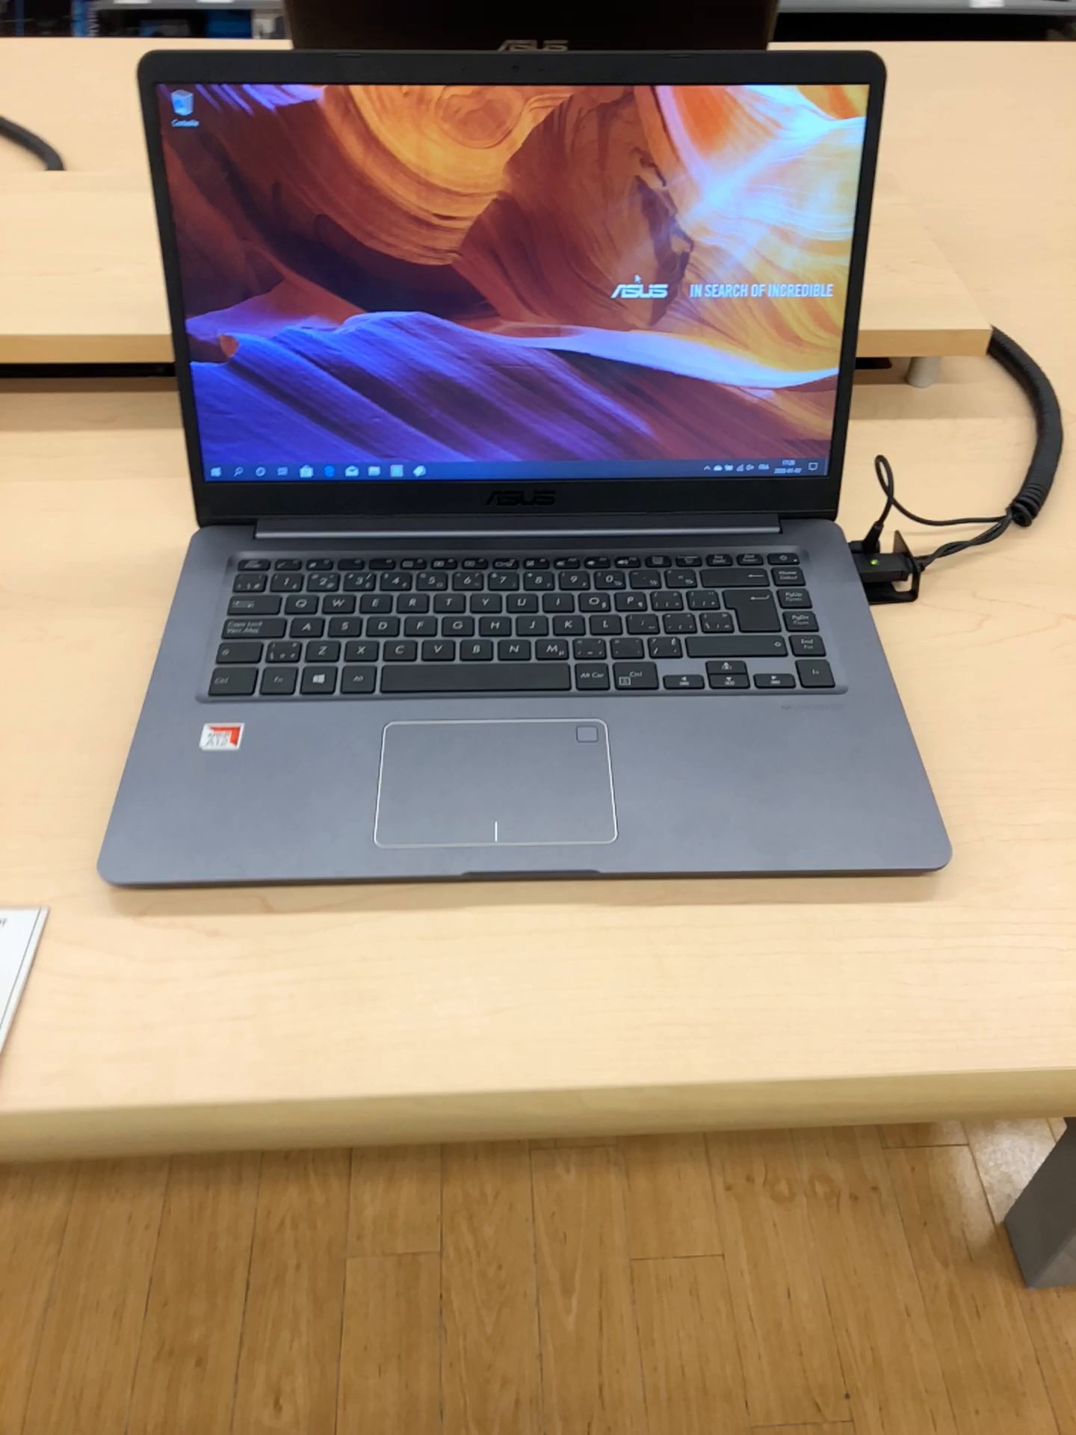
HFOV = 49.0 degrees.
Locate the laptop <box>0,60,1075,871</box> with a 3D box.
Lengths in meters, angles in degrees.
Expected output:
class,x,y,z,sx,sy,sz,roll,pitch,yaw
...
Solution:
class,x,y,z,sx,sy,sz,roll,pitch,yaw
laptop,-0.008,-0.128,0.544,0.361,0.223,0.319,-1,46,-2
